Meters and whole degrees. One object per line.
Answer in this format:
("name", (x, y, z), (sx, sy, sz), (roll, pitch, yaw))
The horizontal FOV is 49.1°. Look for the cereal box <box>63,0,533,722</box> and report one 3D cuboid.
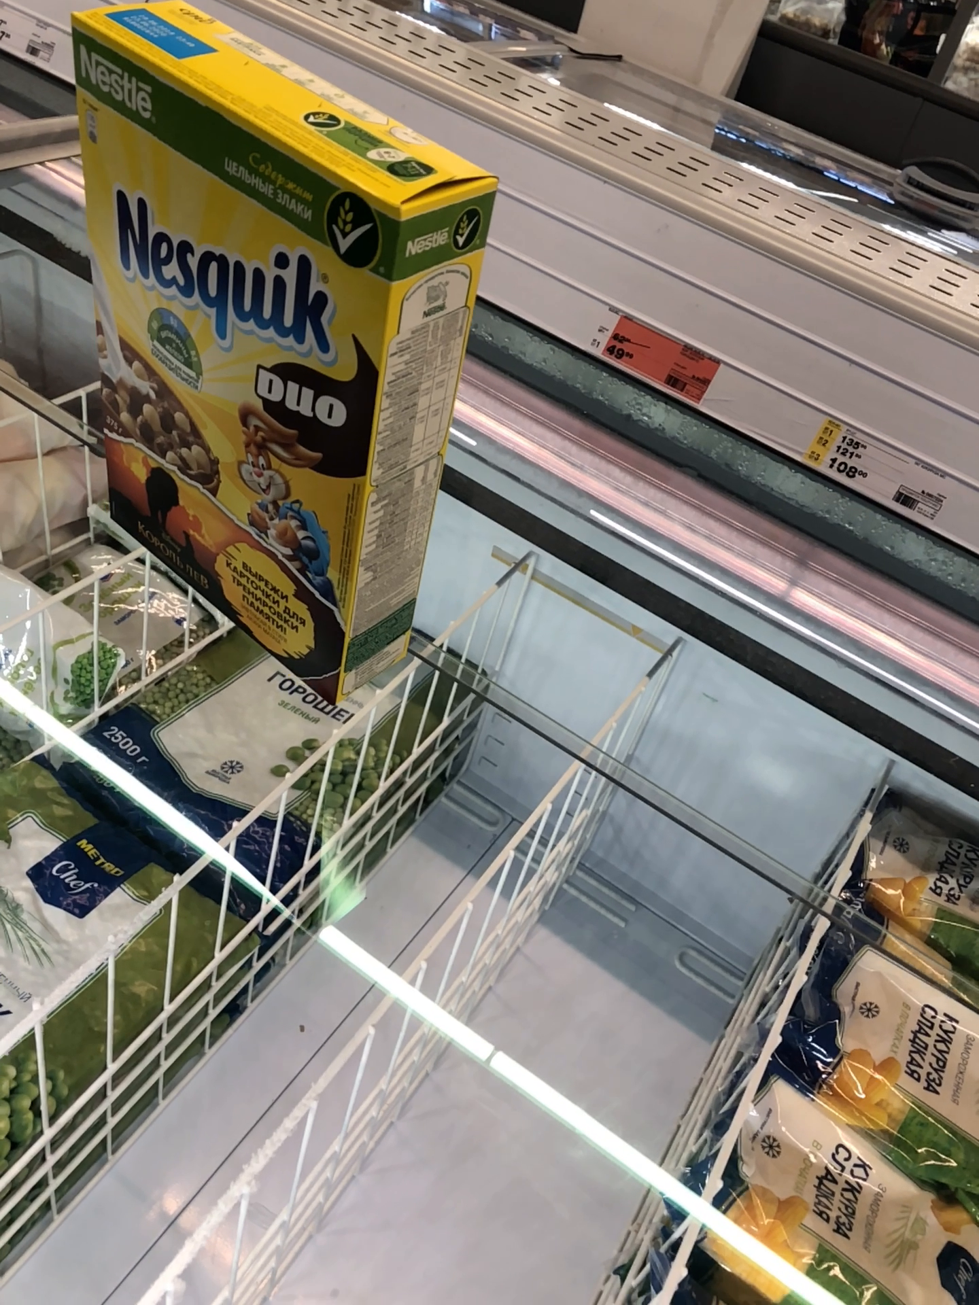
("cereal box", (-0.106, -0.133, 0.523), (0.200, 0.278, 0.070), (37, 48, 22))
